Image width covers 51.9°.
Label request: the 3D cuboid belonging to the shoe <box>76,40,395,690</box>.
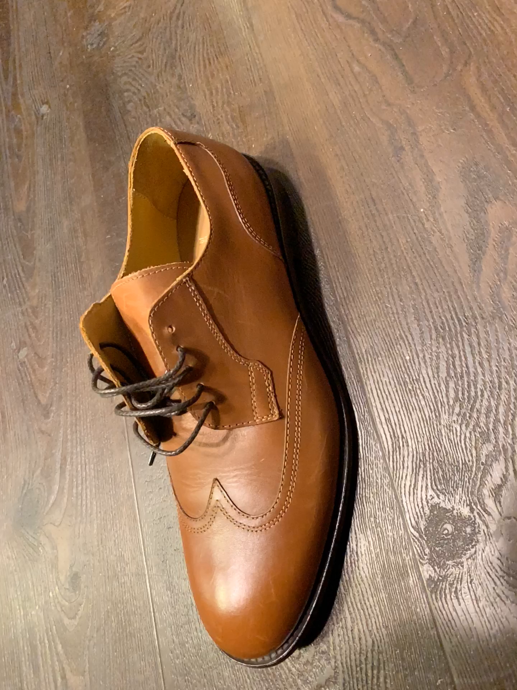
[{"bbox_3d":[-0.018,0.017,0.310,0.120,0.109,0.321,-13,72,29],"label":"shoe"}]
